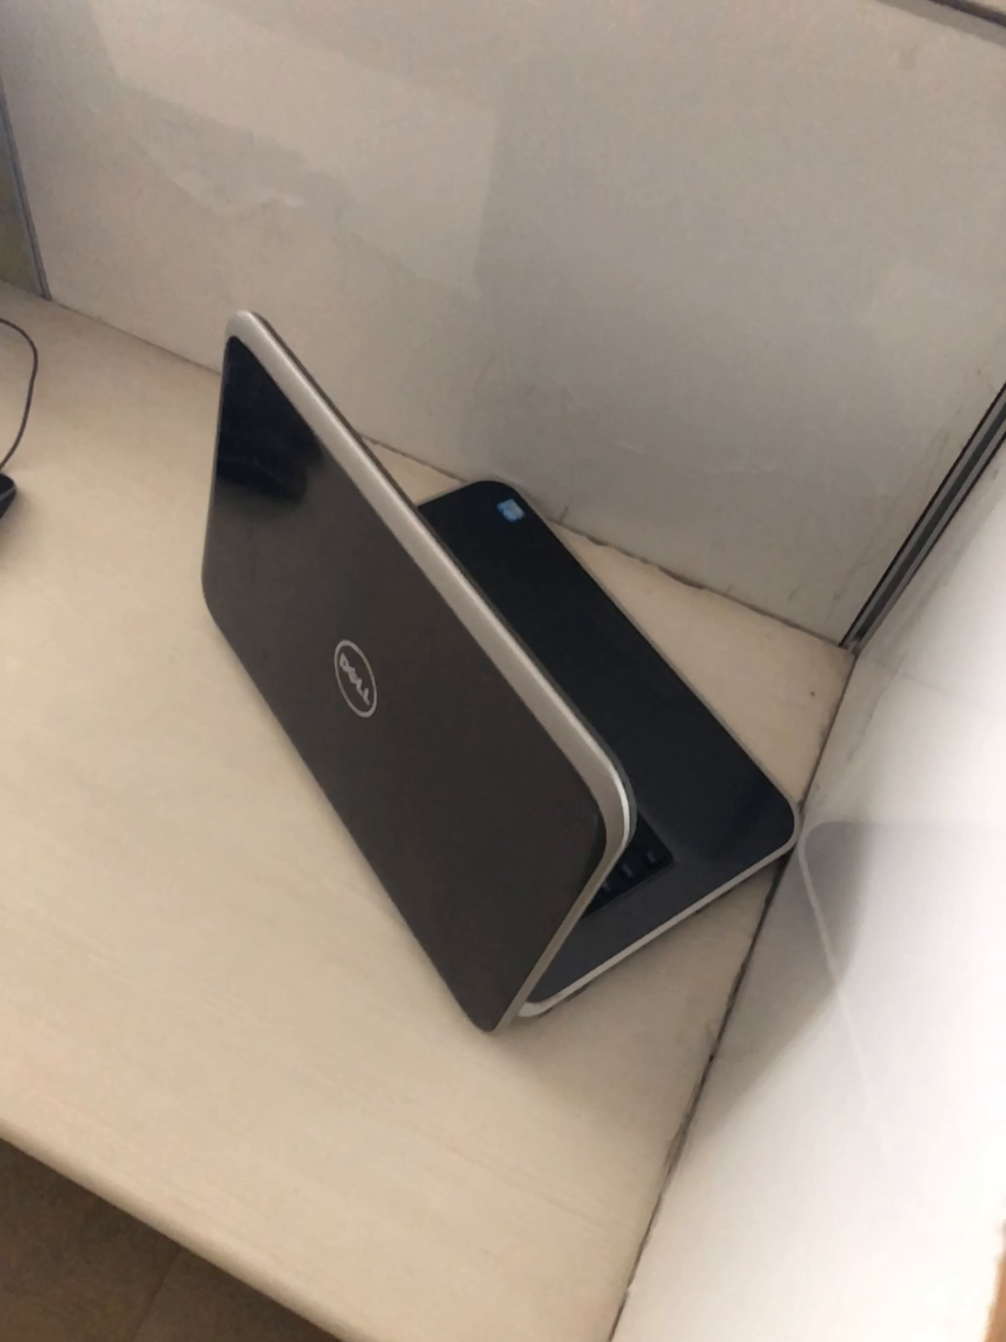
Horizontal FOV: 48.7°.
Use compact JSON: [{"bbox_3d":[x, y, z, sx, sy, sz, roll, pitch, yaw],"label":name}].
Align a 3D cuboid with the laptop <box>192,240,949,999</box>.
[{"bbox_3d":[0.018,-0.041,0.656,0.239,0.217,0.334,-26,64,-26],"label":"laptop"}]
